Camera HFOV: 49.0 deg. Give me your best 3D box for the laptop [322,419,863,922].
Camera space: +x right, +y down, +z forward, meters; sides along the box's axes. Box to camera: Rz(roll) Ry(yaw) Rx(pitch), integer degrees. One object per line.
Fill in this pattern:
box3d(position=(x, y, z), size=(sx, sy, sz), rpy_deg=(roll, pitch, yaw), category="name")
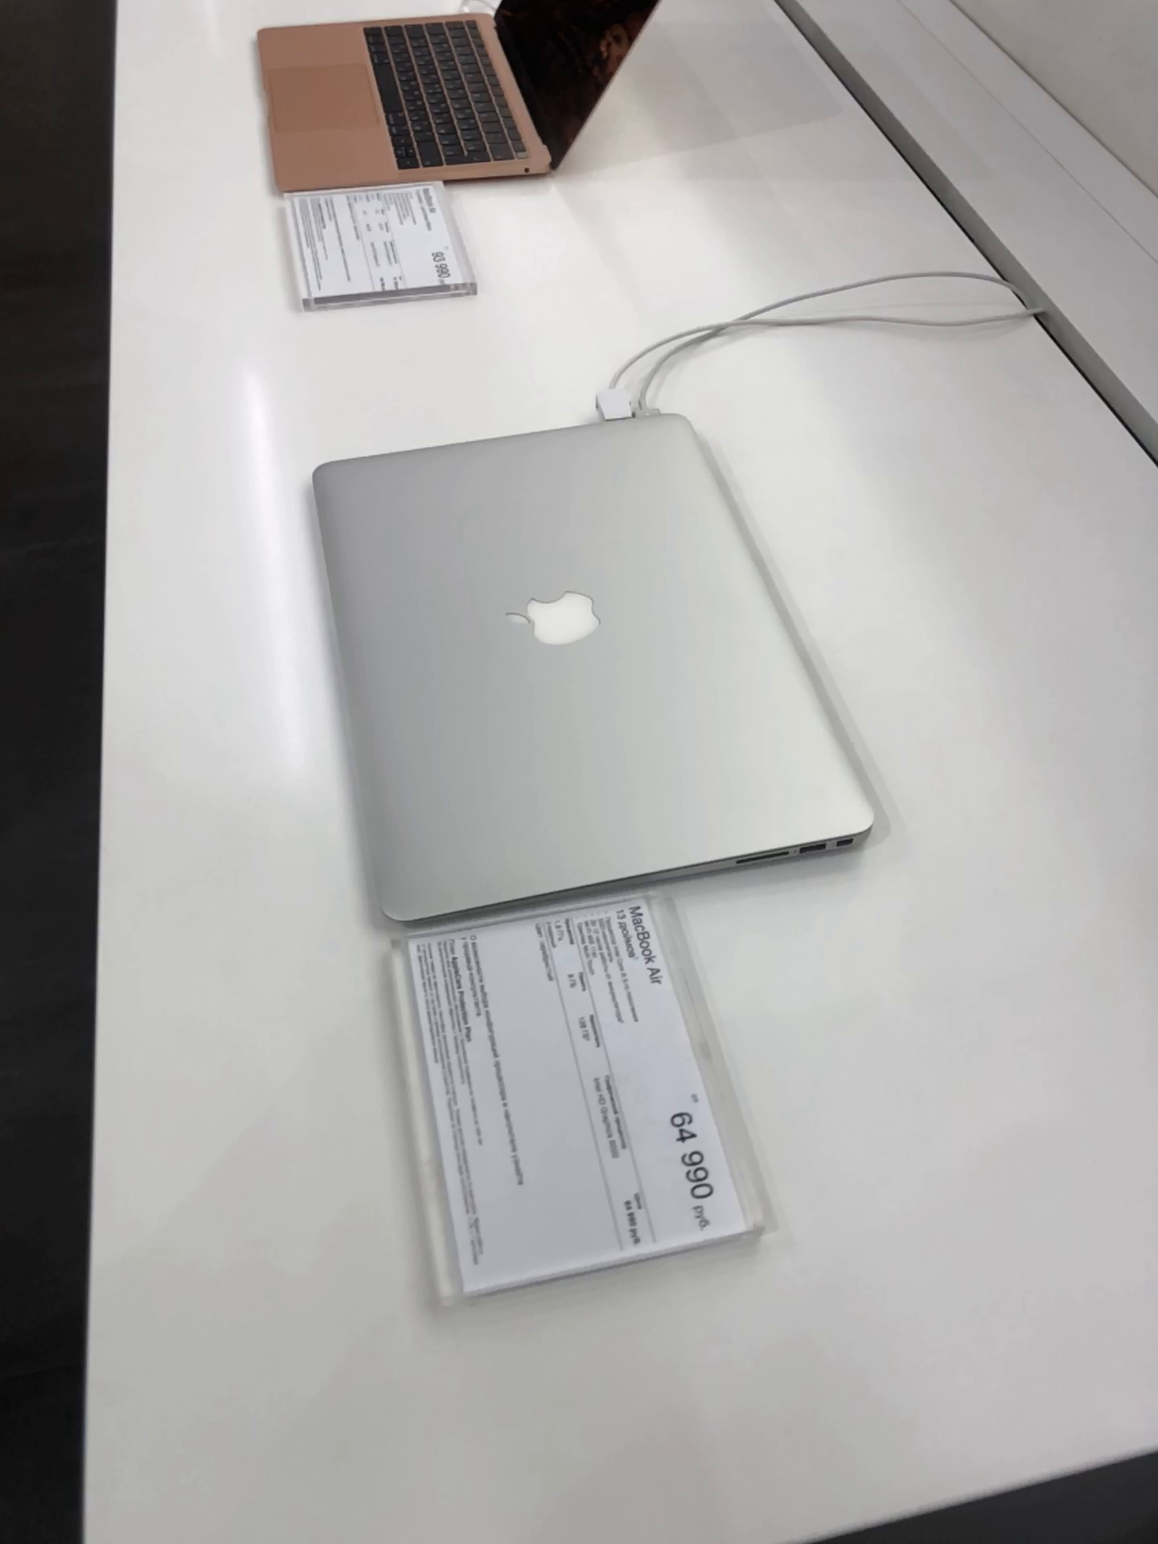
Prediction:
box3d(position=(-0.011, -0.072, 0.637), size=(0.209, 0.008, 0.308), rpy_deg=(-9, 50, -7), category="laptop")
